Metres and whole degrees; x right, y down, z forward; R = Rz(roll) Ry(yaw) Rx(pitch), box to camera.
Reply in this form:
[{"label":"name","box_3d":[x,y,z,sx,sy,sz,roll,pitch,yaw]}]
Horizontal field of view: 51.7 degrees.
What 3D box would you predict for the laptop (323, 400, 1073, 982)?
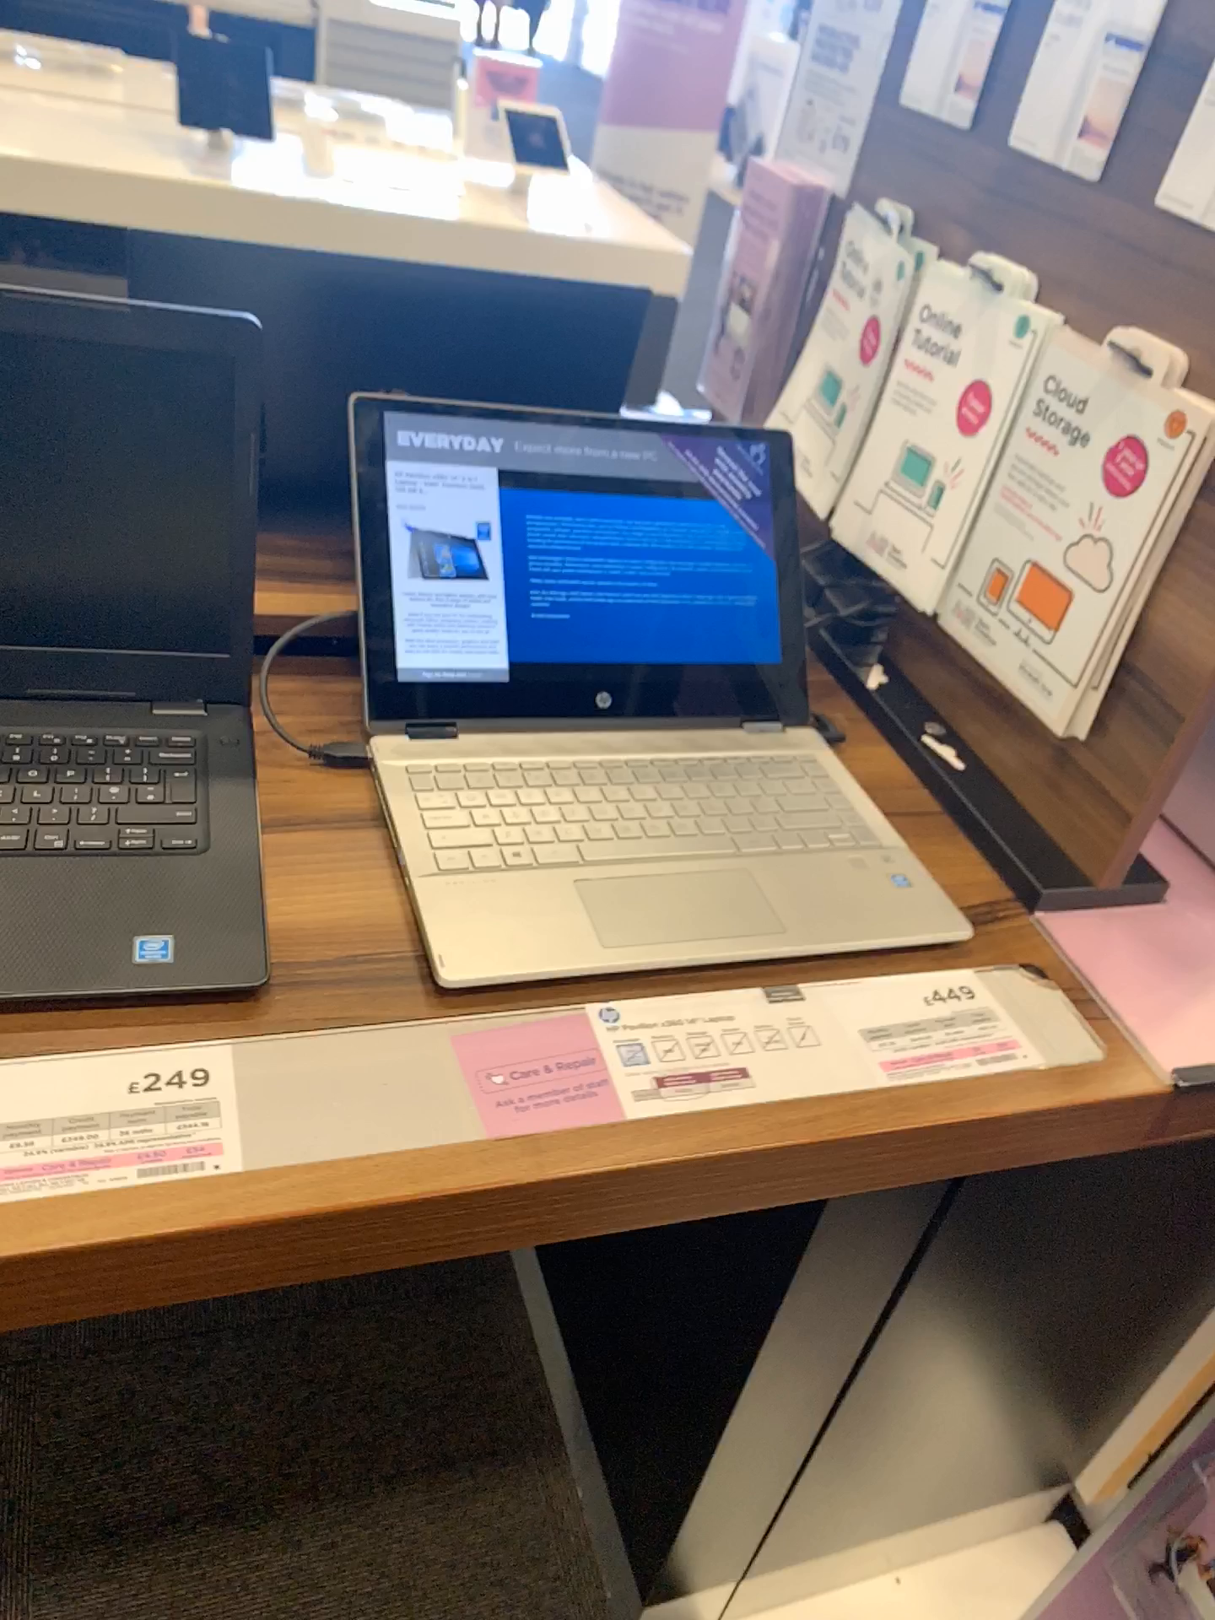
[{"label":"laptop","box_3d":[0.019,-0.094,0.759,0.313,0.154,0.363,-2,38,-21]}]
